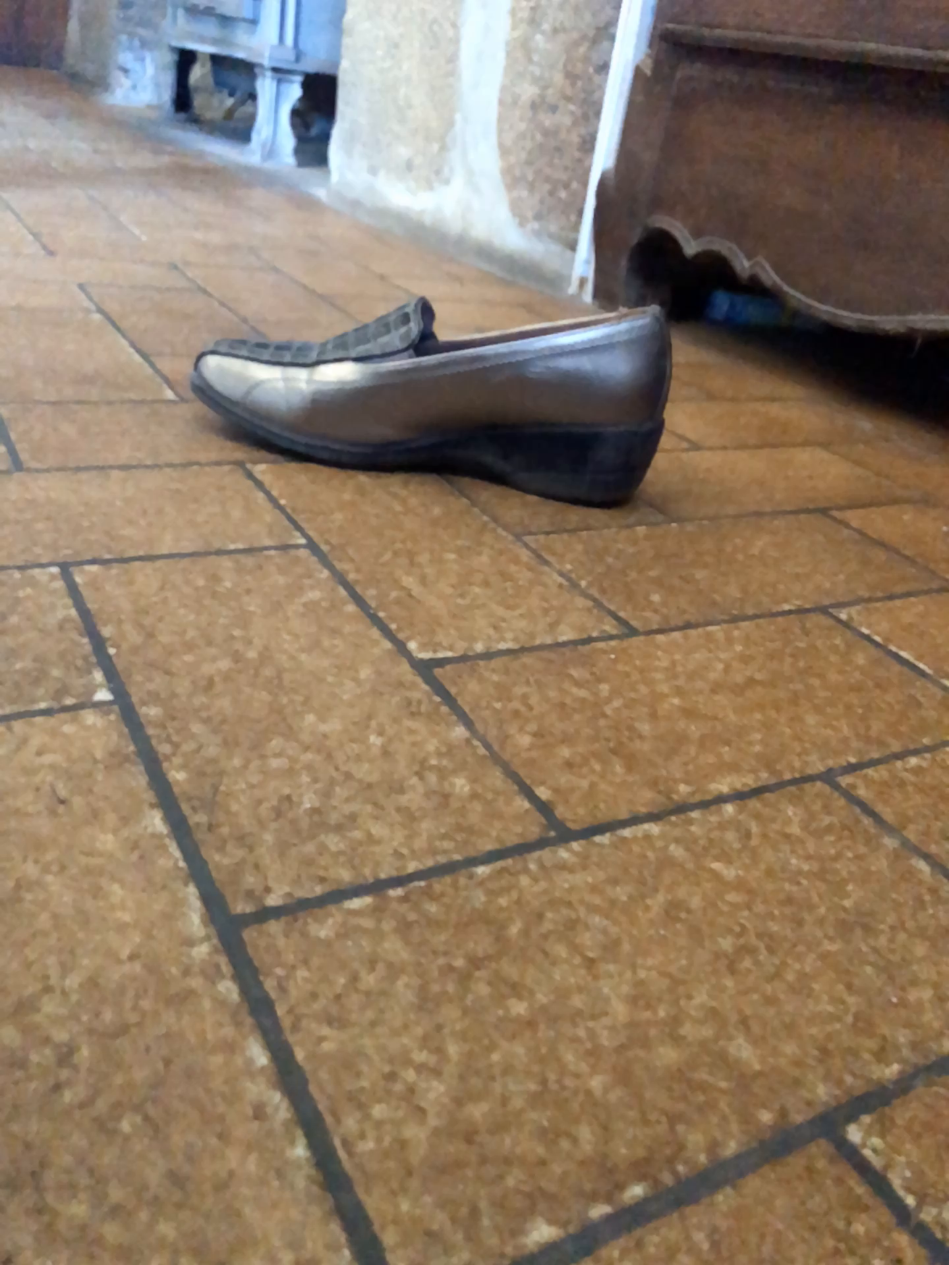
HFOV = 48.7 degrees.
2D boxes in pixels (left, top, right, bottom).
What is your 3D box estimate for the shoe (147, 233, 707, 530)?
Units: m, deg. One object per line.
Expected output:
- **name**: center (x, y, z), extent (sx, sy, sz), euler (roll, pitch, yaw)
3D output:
- **shoe**: center (-0.024, -0.132, 0.542), extent (0.260, 0.089, 0.091), euler (10, 27, 0)
